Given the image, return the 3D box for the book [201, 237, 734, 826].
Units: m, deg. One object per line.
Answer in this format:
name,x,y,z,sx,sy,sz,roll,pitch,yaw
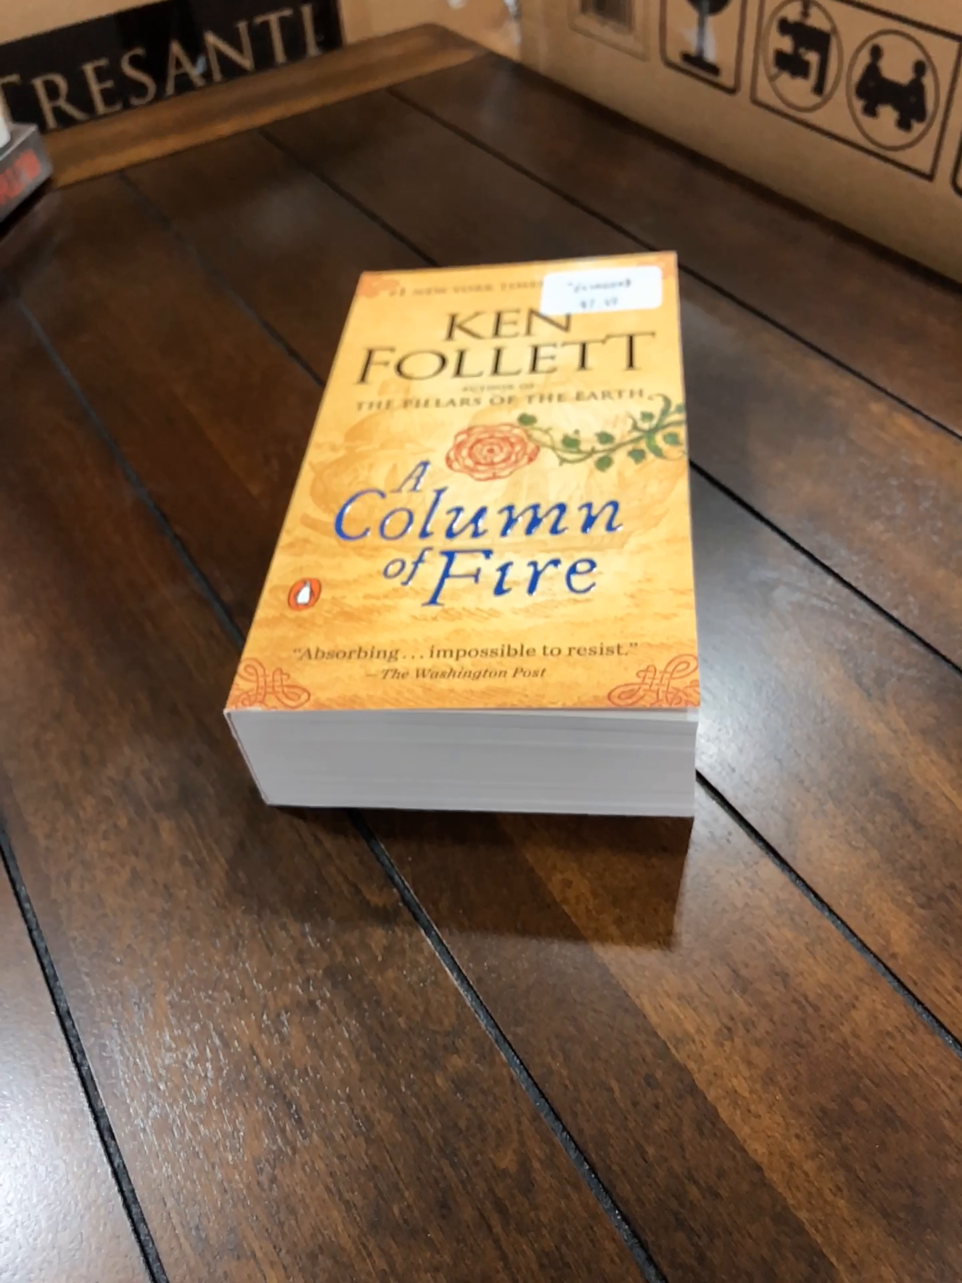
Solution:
book,0.006,-0.045,0.303,0.110,0.040,0.196,1,47,7
